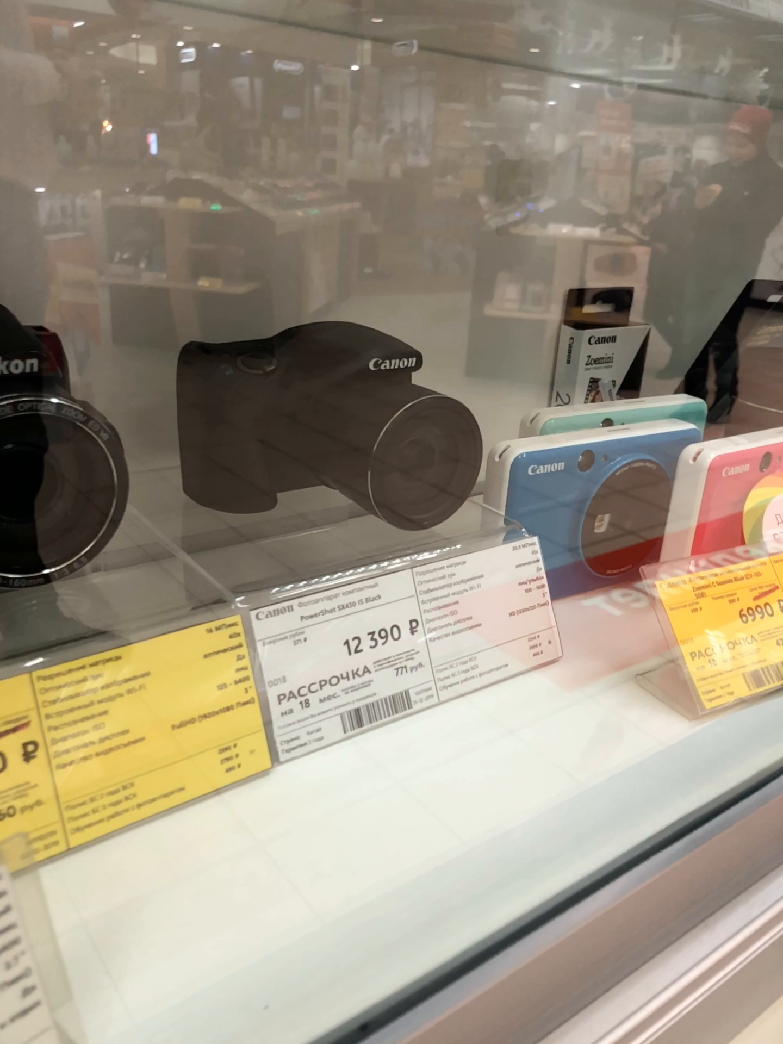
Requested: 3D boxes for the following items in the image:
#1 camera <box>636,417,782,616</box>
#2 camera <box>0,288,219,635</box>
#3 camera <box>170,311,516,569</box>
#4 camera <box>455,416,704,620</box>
[{"bbox_3d":[0.174,-0.006,0.412,0.118,0.073,0.028,-10,25,-31],"label":"camera"},{"bbox_3d":[-0.120,-0.029,0.272,0.100,0.073,0.093,-11,26,-33],"label":"camera"},{"bbox_3d":[-0.022,-0.040,0.346,0.100,0.070,0.093,-11,26,-33],"label":"camera"},{"bbox_3d":[0.089,-0.005,0.404,0.118,0.073,0.028,-10,25,-31],"label":"camera"}]
